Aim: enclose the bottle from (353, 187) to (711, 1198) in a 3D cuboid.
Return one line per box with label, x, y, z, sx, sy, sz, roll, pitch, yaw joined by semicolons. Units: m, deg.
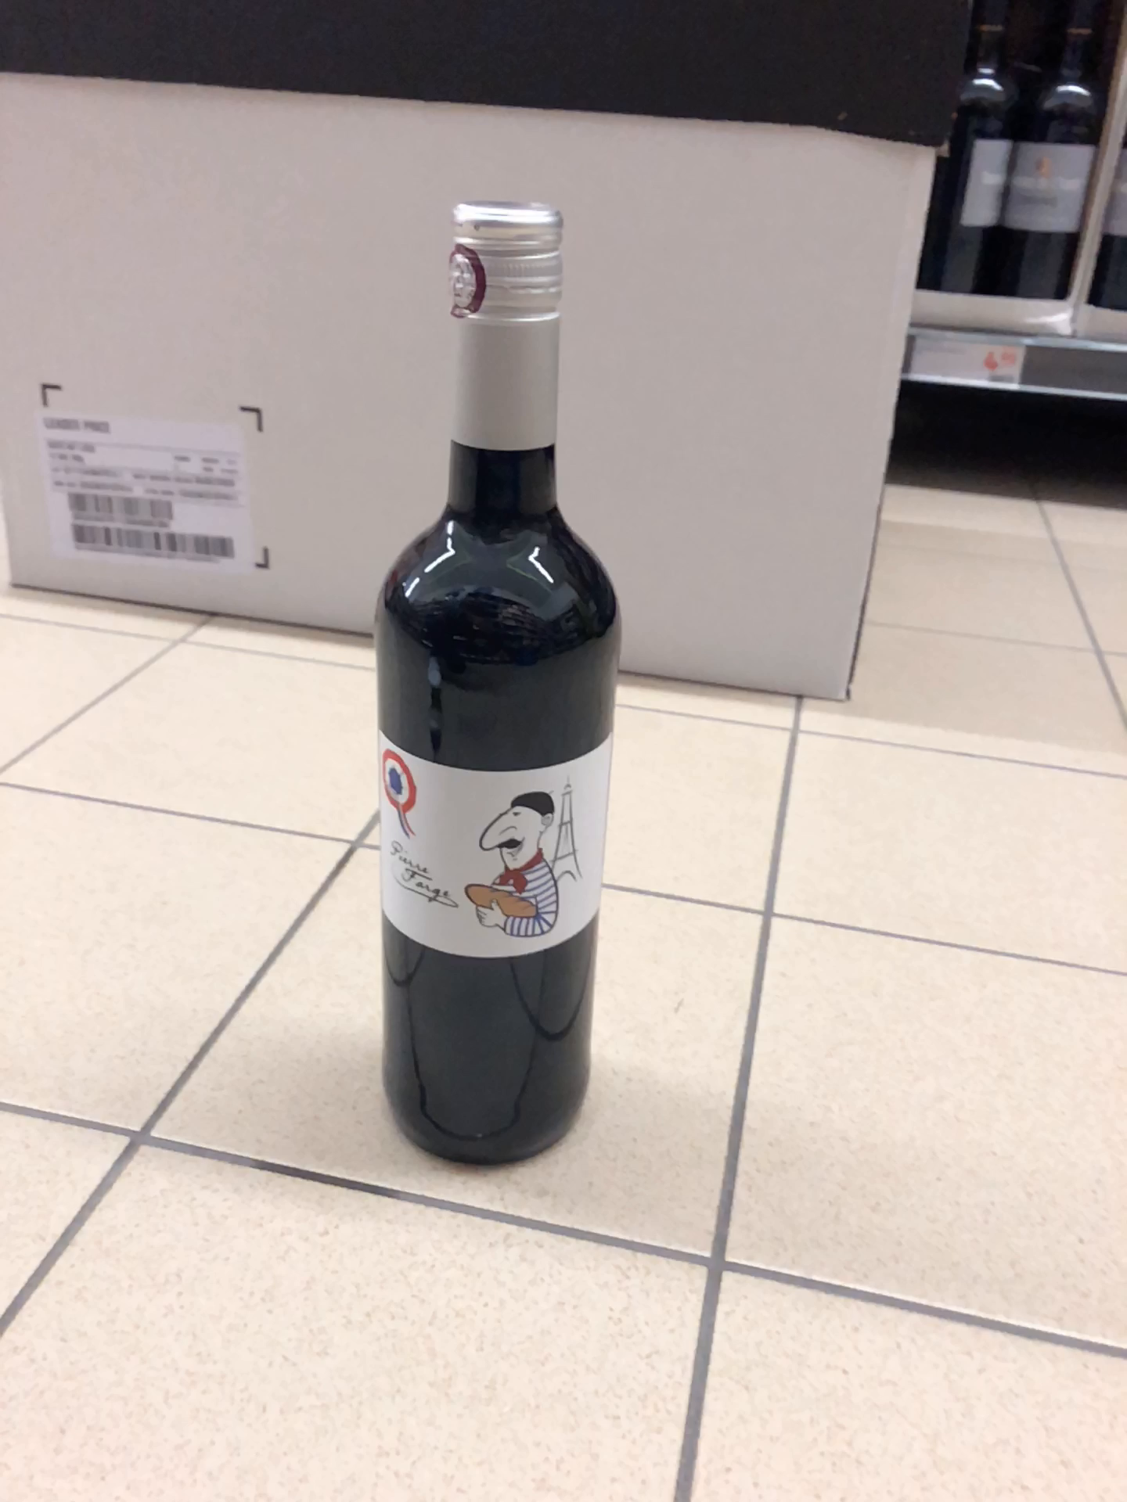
bottle;-0.011;-0.007;0.386;0.080;0.298;0.080;3;26;-1
